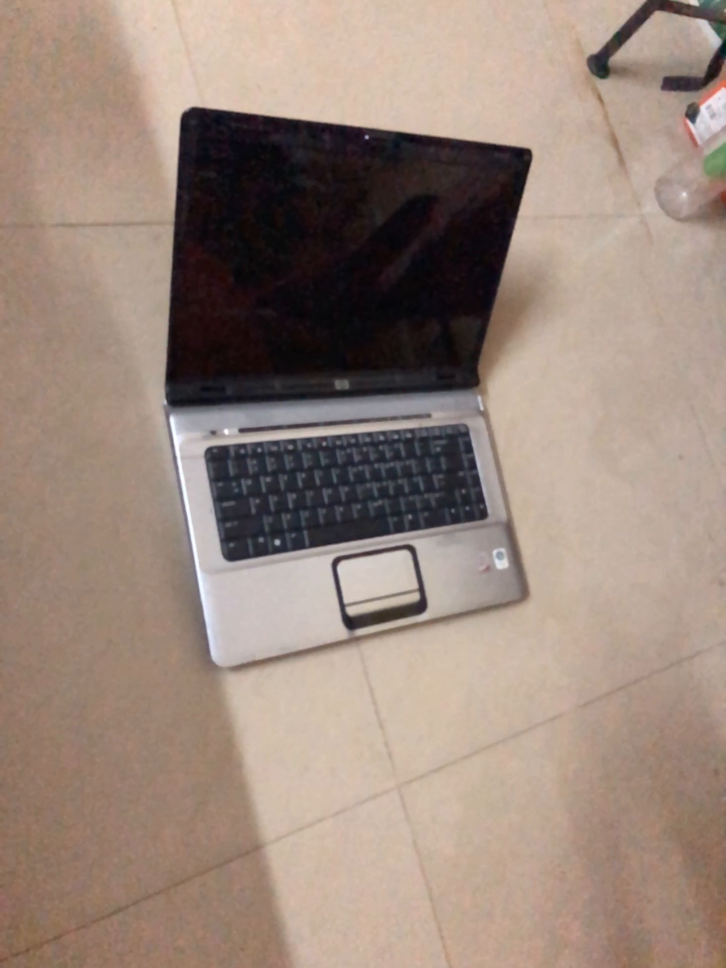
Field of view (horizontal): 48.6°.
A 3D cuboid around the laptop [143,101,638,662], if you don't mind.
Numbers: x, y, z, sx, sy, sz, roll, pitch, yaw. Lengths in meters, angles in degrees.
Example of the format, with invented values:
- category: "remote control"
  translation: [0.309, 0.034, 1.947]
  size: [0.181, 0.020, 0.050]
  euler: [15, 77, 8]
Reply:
- category: "laptop"
  translation: [0.019, -0.086, 0.729]
  size: [0.339, 0.167, 0.409]
  euler: [-7, 80, -29]
